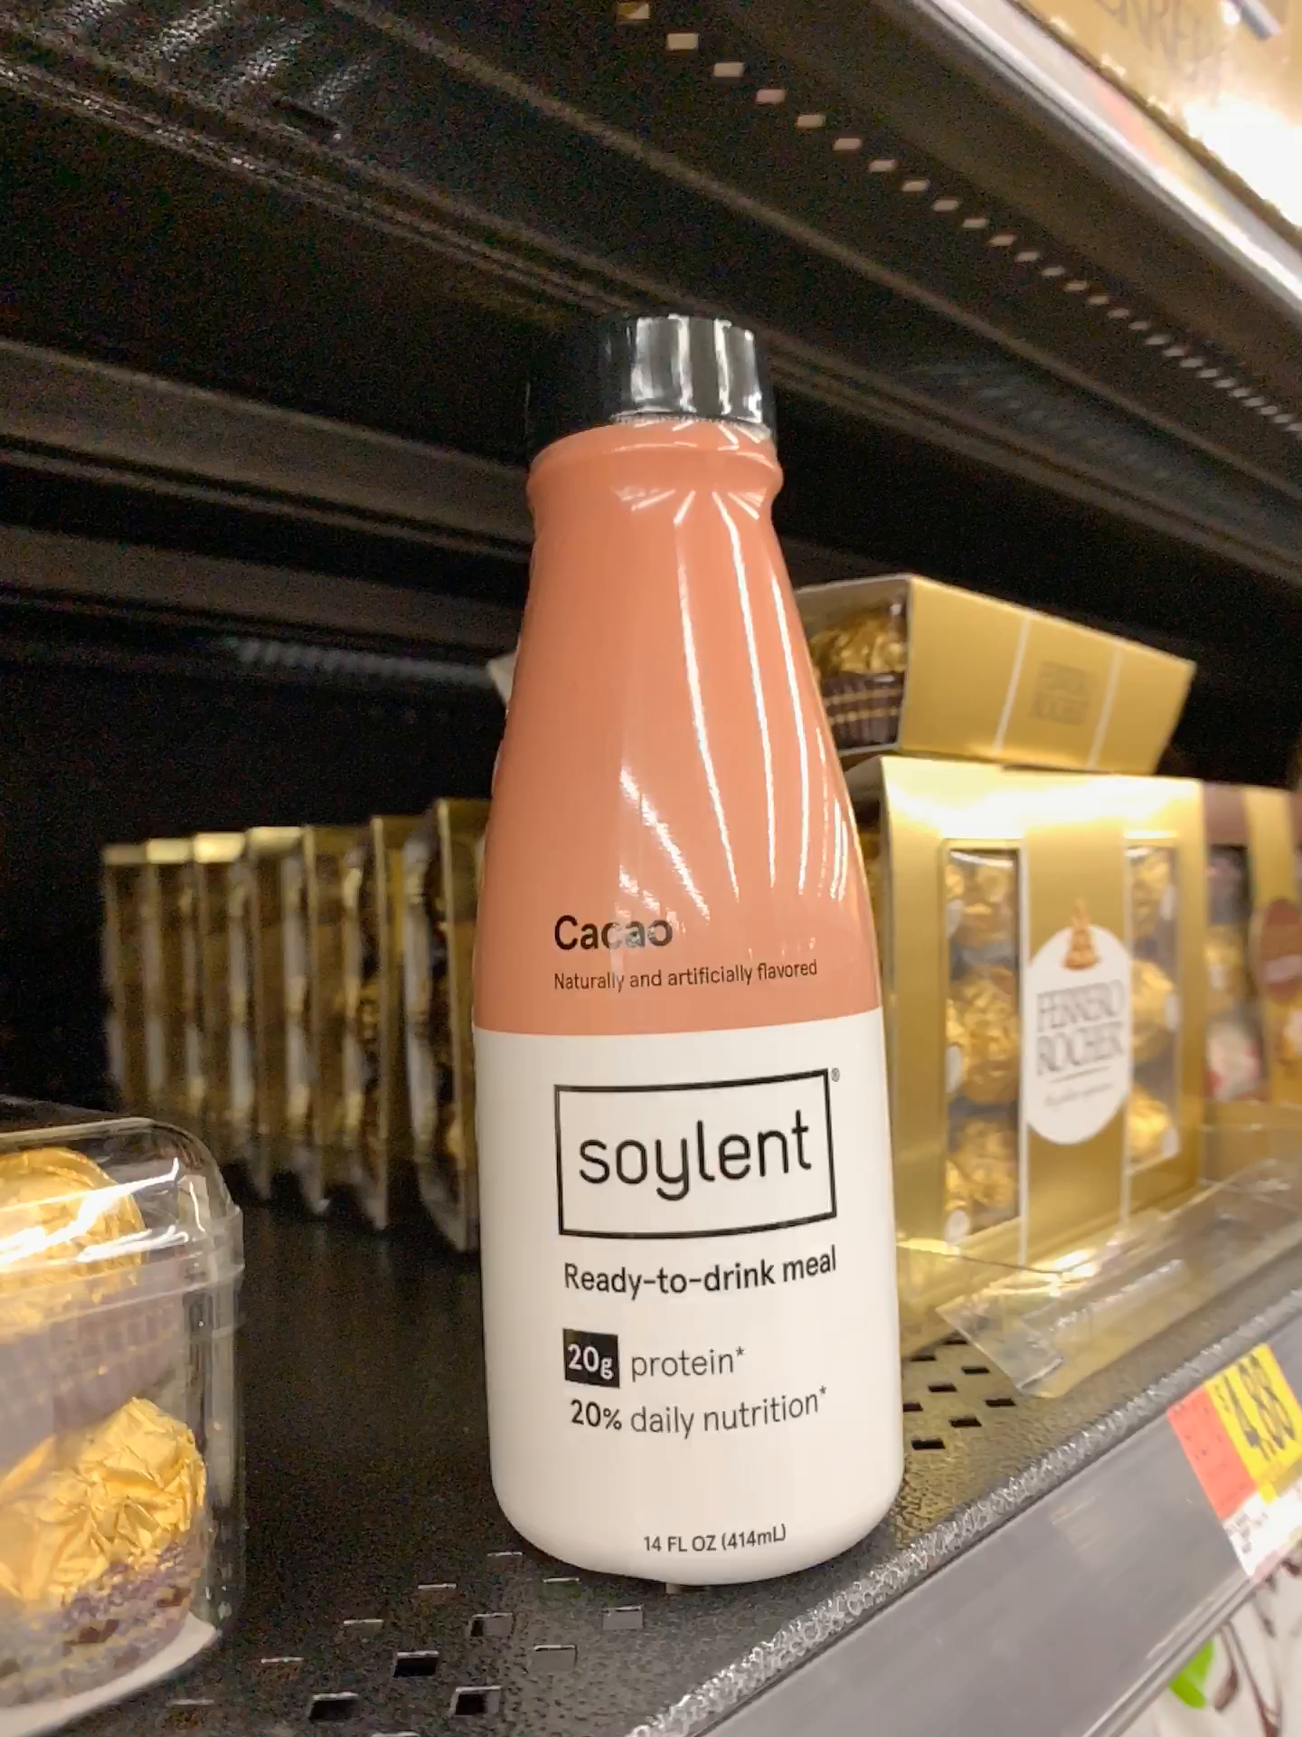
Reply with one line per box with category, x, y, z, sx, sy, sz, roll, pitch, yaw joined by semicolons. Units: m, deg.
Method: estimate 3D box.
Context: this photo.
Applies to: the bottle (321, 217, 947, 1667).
bottle;-0.002;0.010;0.215;0.080;0.190;0.070;-1;-1;2
